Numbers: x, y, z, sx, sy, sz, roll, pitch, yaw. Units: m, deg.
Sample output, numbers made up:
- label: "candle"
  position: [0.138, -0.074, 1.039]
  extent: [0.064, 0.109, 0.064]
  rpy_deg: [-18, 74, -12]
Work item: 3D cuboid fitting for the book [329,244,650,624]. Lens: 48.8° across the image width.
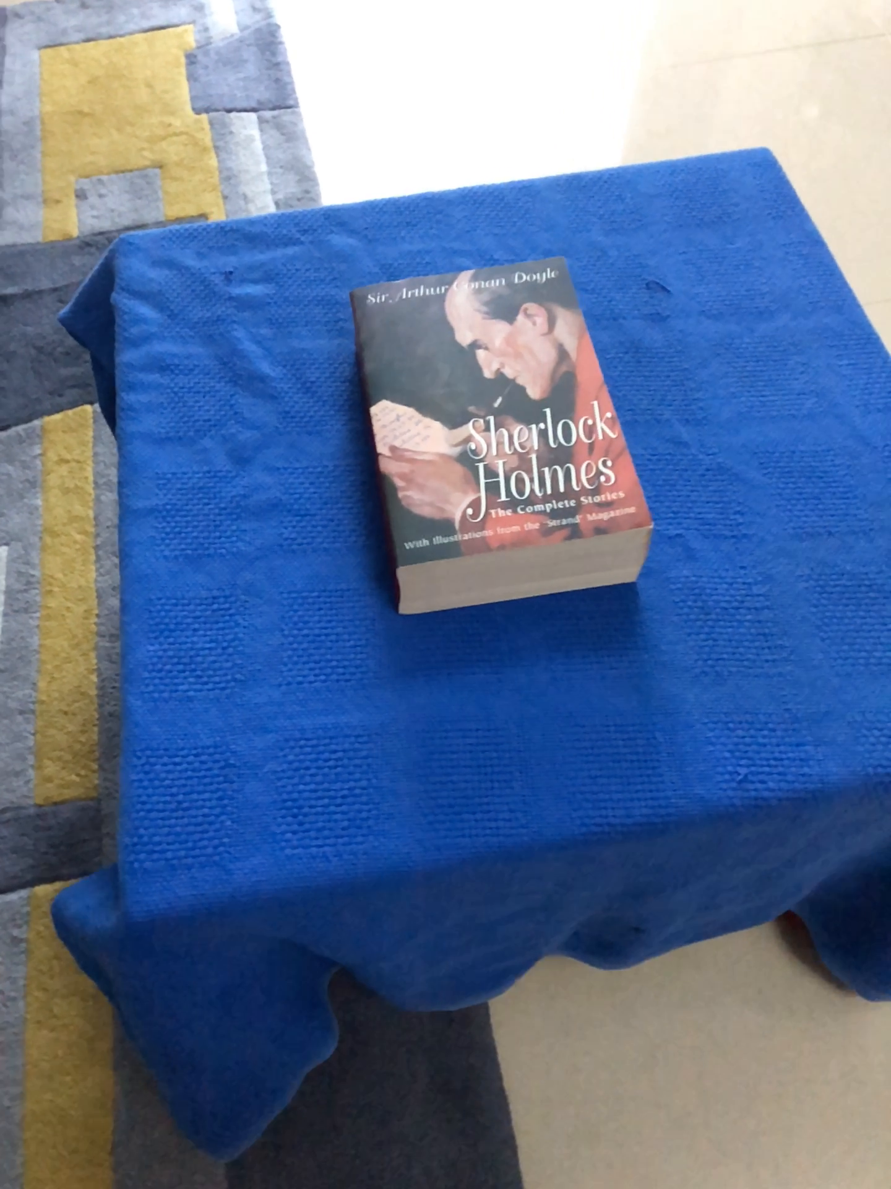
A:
- label: "book"
  position: [0.019, -0.113, 0.648]
  extent: [0.160, 0.070, 0.241]
  rpy_deg: [-9, 59, -3]
